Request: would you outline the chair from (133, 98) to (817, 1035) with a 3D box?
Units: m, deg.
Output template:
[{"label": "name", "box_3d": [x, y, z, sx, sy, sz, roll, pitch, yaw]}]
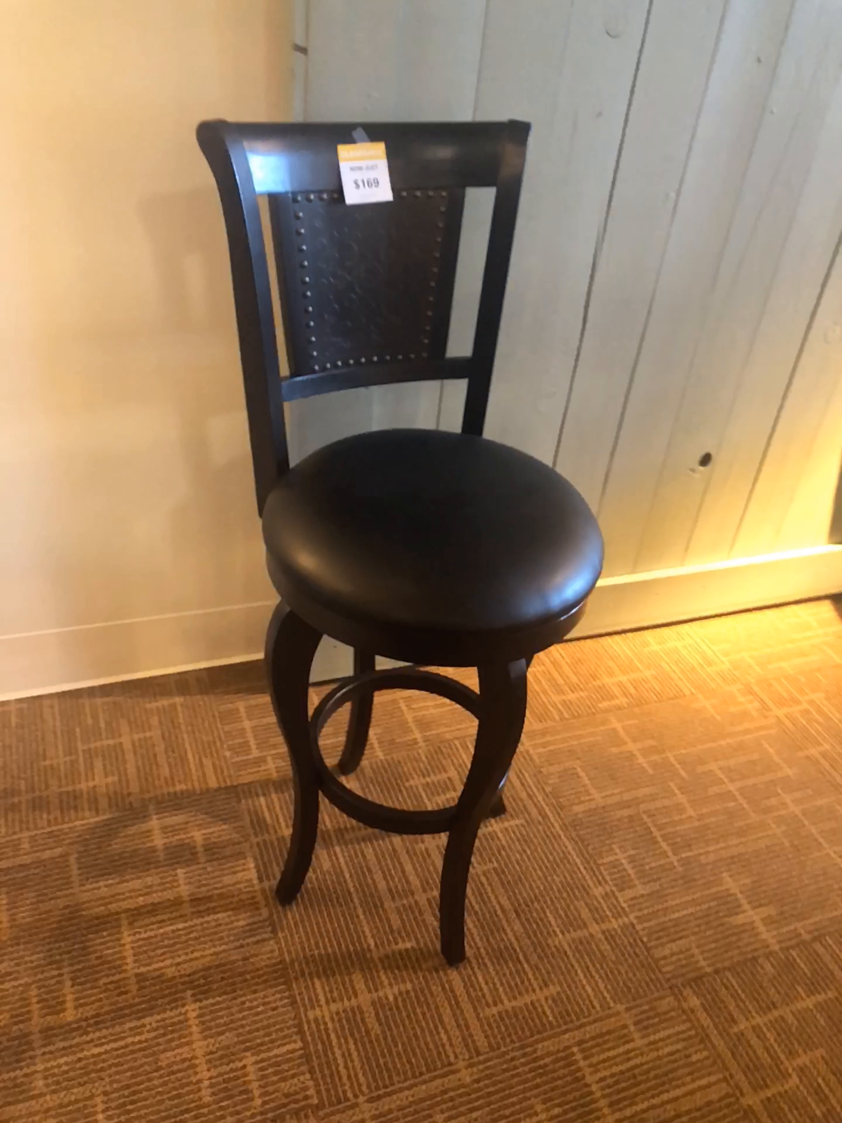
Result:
[{"label": "chair", "box_3d": [-0.036, 0.013, 1.377, 0.561, 1.150, 0.611, -11, 38, -24]}]
